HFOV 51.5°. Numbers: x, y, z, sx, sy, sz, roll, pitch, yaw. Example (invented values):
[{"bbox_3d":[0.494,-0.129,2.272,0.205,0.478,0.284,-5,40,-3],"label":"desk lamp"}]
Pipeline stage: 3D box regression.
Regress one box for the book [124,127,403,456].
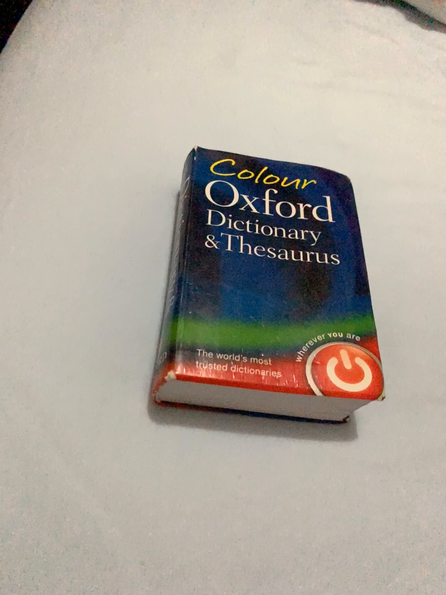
[{"bbox_3d":[0.021,-0.013,0.260,0.120,0.040,0.181,5,59,-3],"label":"book"}]
